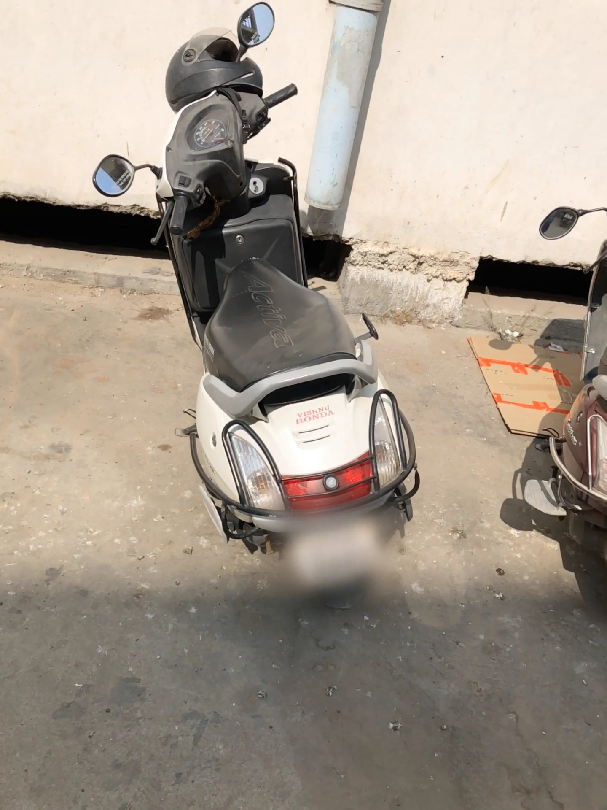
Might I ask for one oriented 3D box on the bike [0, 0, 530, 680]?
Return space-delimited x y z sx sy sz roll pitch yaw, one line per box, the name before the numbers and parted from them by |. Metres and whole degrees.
bike | -0.294 -0.250 1.754 0.626 1.122 1.304 -8 42 -26
